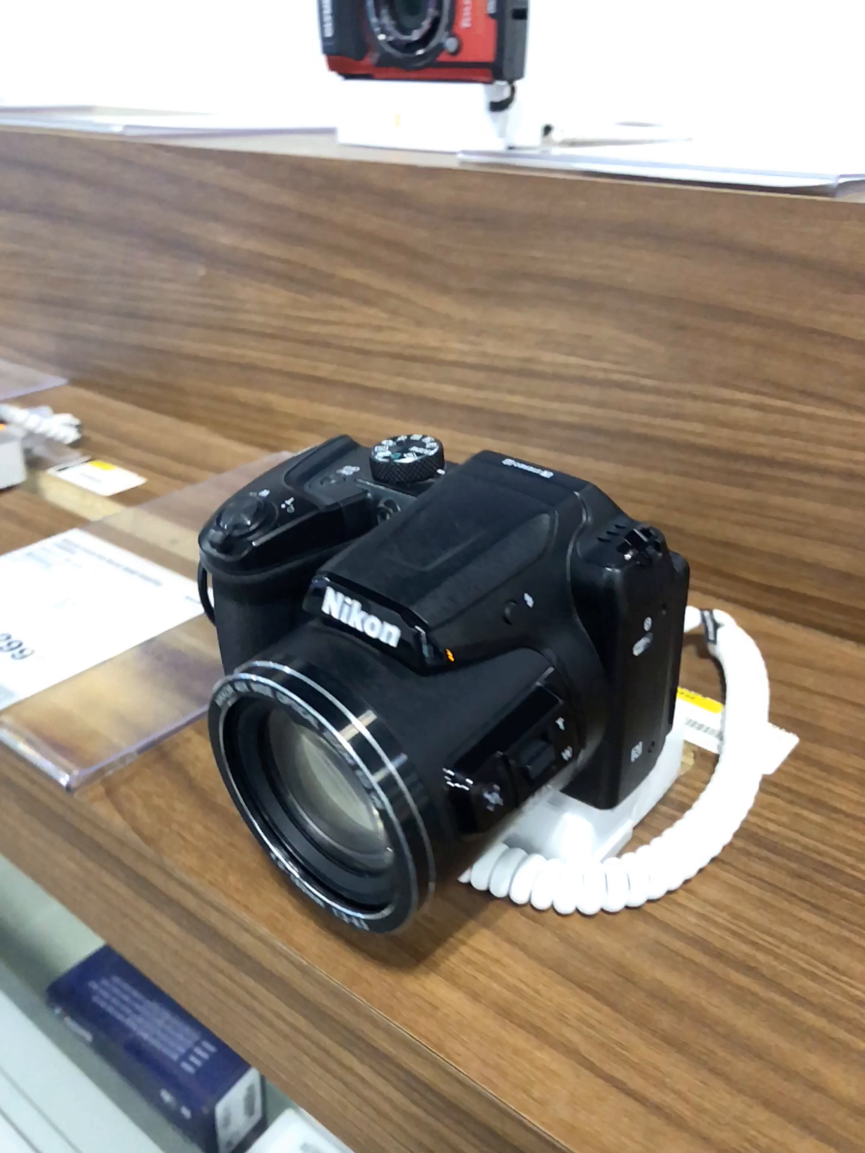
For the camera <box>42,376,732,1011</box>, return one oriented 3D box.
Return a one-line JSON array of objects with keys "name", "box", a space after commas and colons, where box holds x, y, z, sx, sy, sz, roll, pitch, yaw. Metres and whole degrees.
[{"name": "camera", "box": [-0.008, 0.011, 0.234, 0.110, 0.079, 0.110, 21, 33, 34]}]
